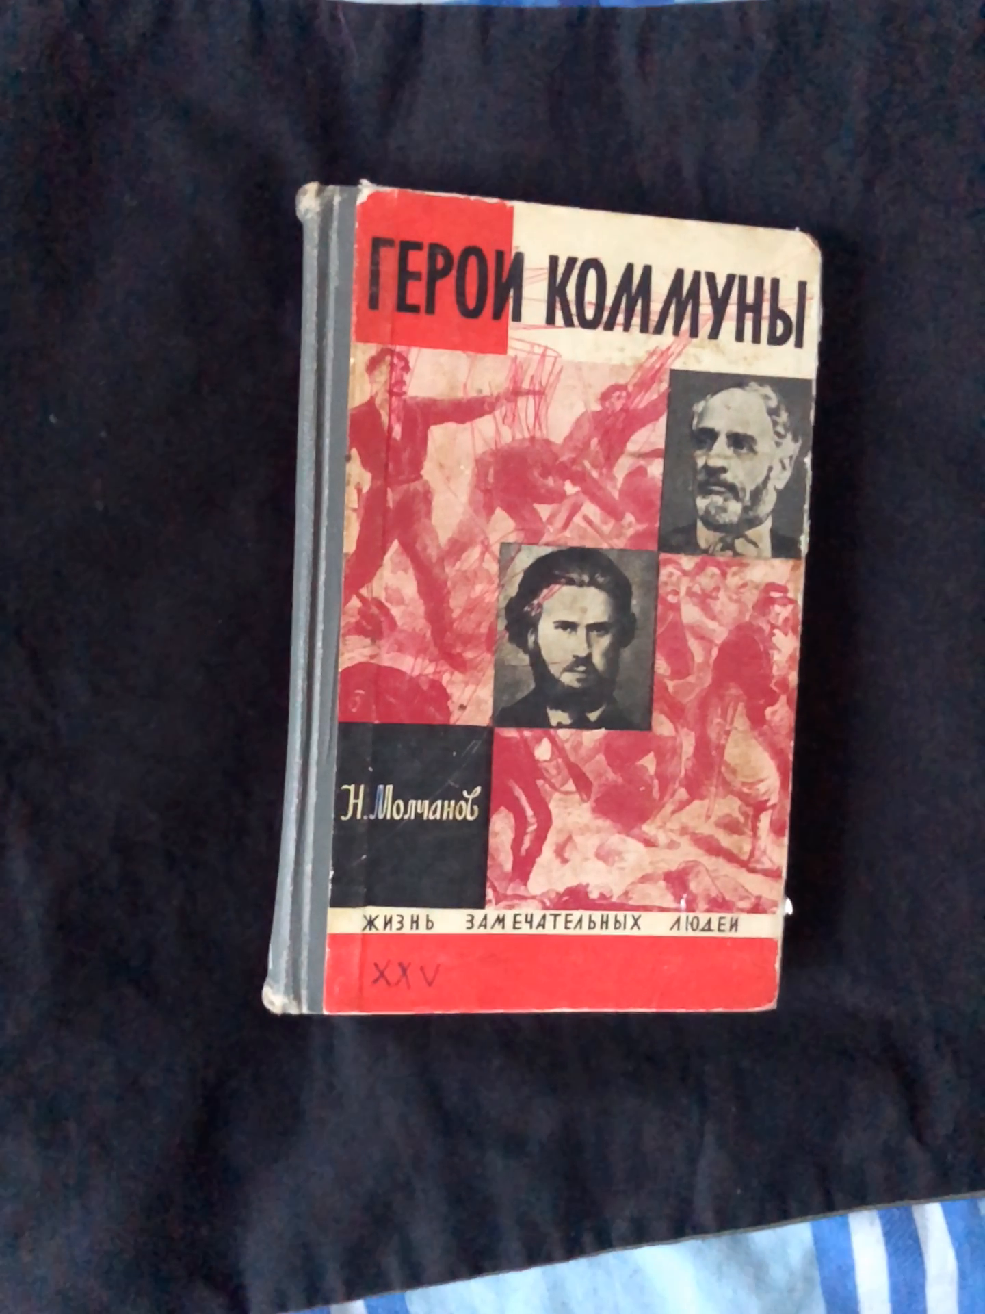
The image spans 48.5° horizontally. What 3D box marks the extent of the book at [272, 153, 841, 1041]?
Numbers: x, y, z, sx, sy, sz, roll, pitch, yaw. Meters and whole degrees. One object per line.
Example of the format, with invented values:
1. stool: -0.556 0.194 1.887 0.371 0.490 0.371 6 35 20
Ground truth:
1. book: 0.012 -0.011 0.285 0.128 0.060 0.200 2 93 -8
